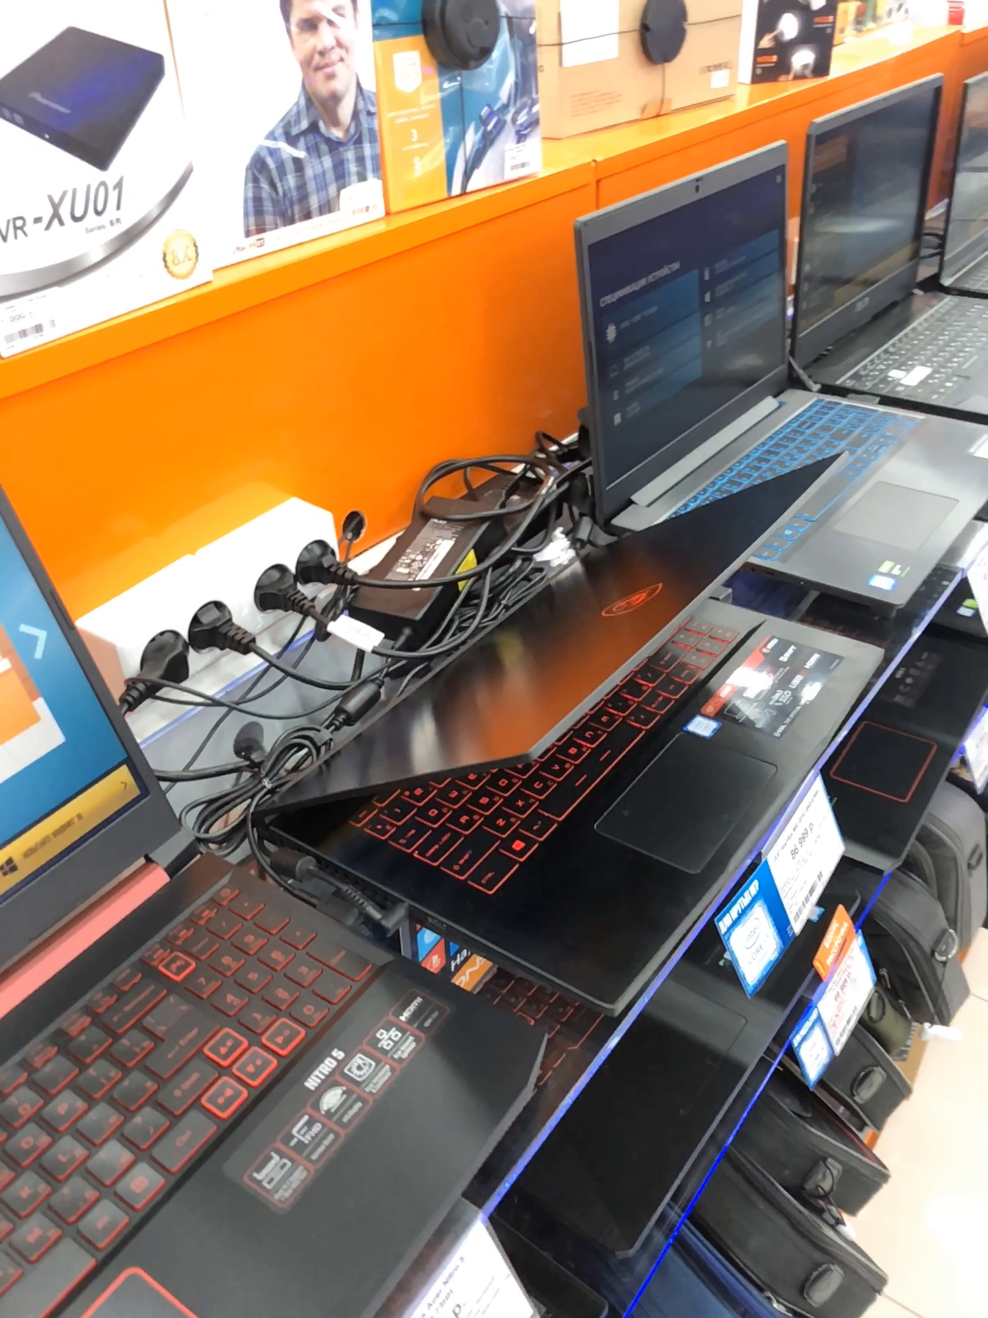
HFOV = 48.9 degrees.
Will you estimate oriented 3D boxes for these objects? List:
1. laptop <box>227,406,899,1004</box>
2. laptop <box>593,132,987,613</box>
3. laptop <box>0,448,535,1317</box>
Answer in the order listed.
[{"bbox_3d":[0.059,-0.010,0.645,0.226,0.134,0.348,20,40,31],"label":"laptop"},{"bbox_3d":[0.278,-0.263,0.894,0.278,0.228,0.327,24,45,35],"label":"laptop"},{"bbox_3d":[-0.229,0.122,0.393,0.329,0.225,0.366,19,40,30],"label":"laptop"}]
